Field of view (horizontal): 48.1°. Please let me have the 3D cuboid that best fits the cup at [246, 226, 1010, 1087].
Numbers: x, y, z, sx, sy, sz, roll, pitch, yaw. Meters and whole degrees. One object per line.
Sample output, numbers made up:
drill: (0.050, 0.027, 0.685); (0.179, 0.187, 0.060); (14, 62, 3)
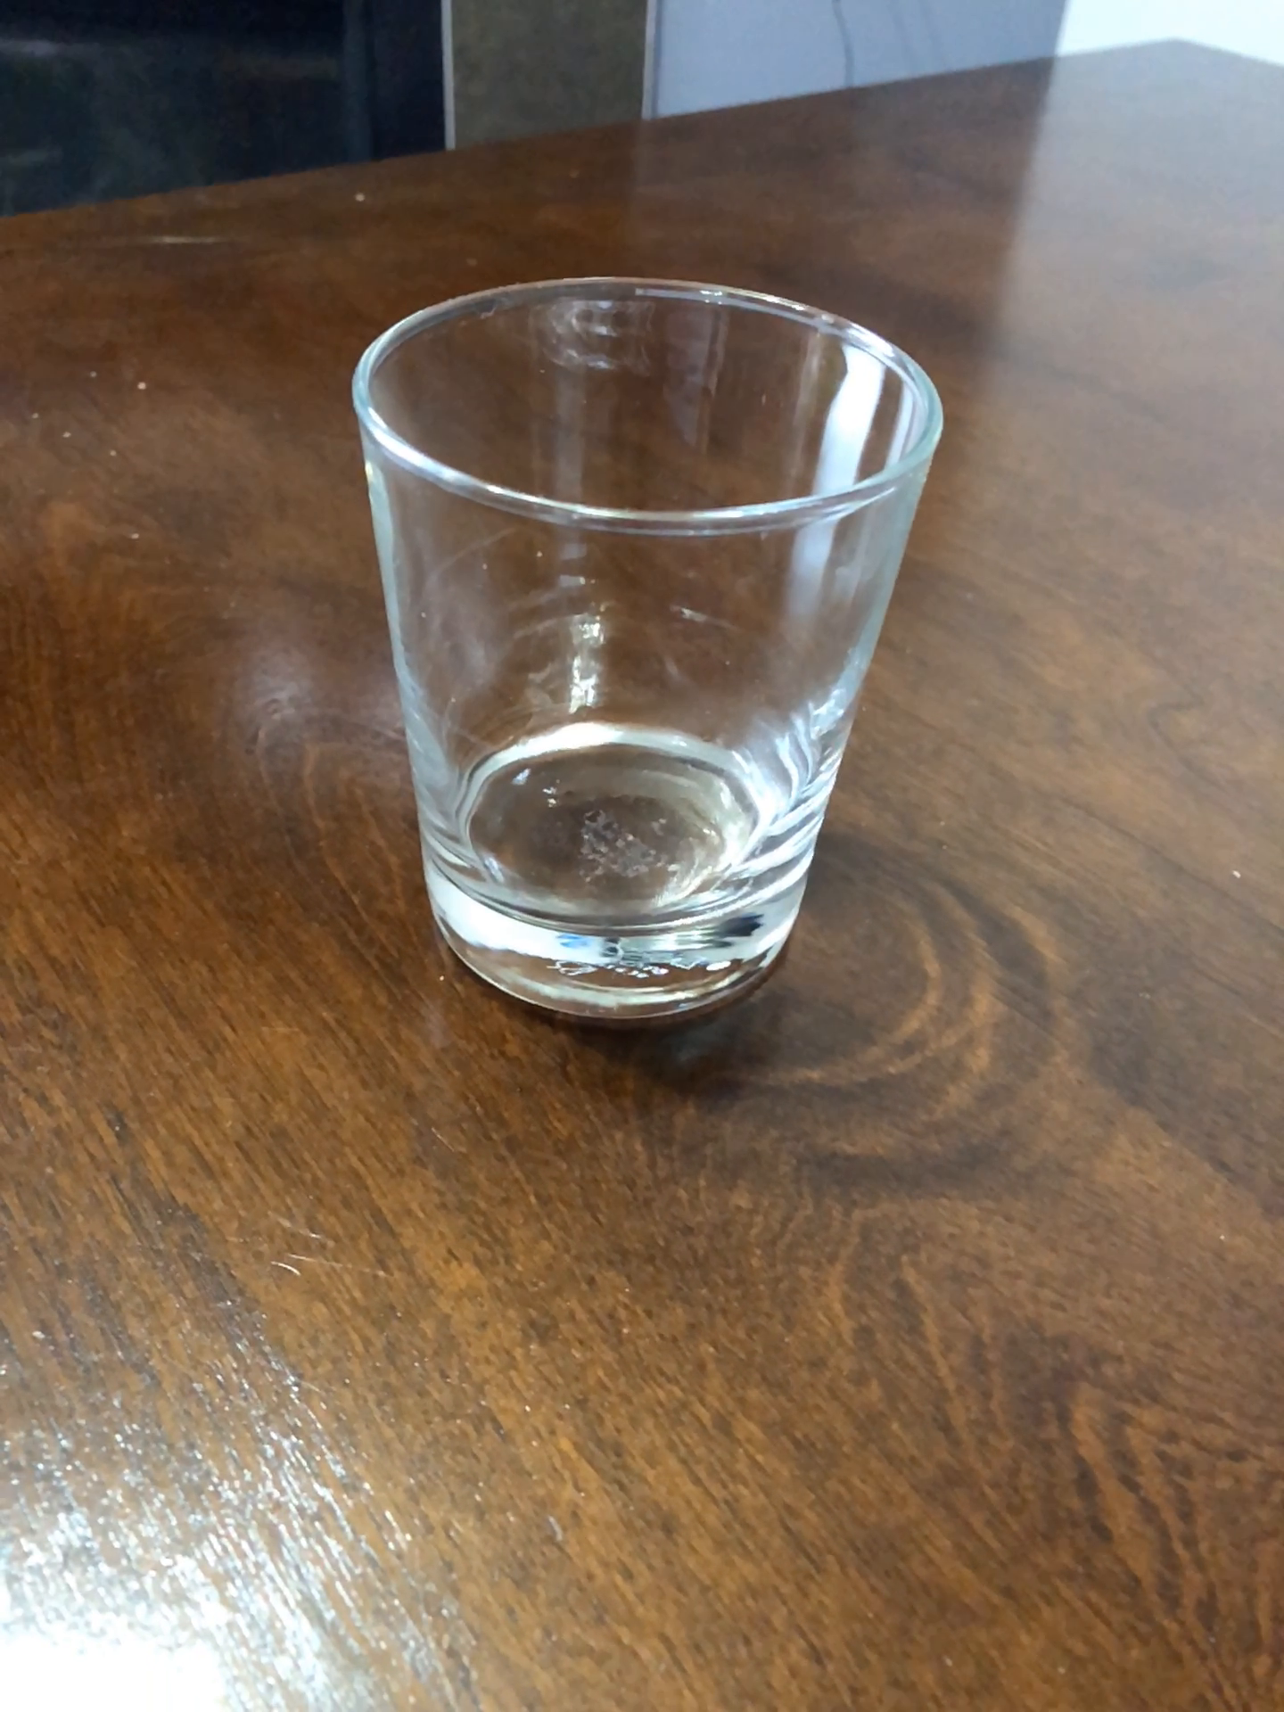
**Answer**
cup: (0.003, -0.035, 0.231); (0.090, 0.090, 0.090); (3, 40, -2)
